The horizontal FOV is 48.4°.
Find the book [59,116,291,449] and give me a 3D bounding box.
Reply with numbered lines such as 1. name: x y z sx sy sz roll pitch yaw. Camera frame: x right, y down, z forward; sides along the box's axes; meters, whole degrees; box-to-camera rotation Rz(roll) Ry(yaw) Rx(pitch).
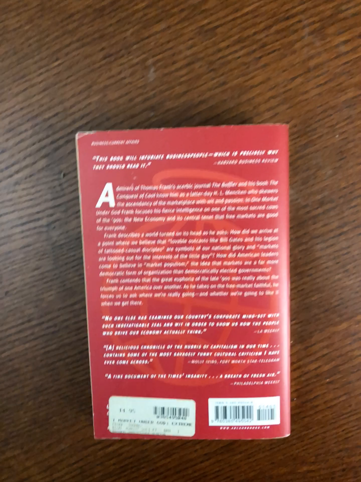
1. book: -0.001 0.030 0.269 0.140 0.030 0.210 -2 96 3
